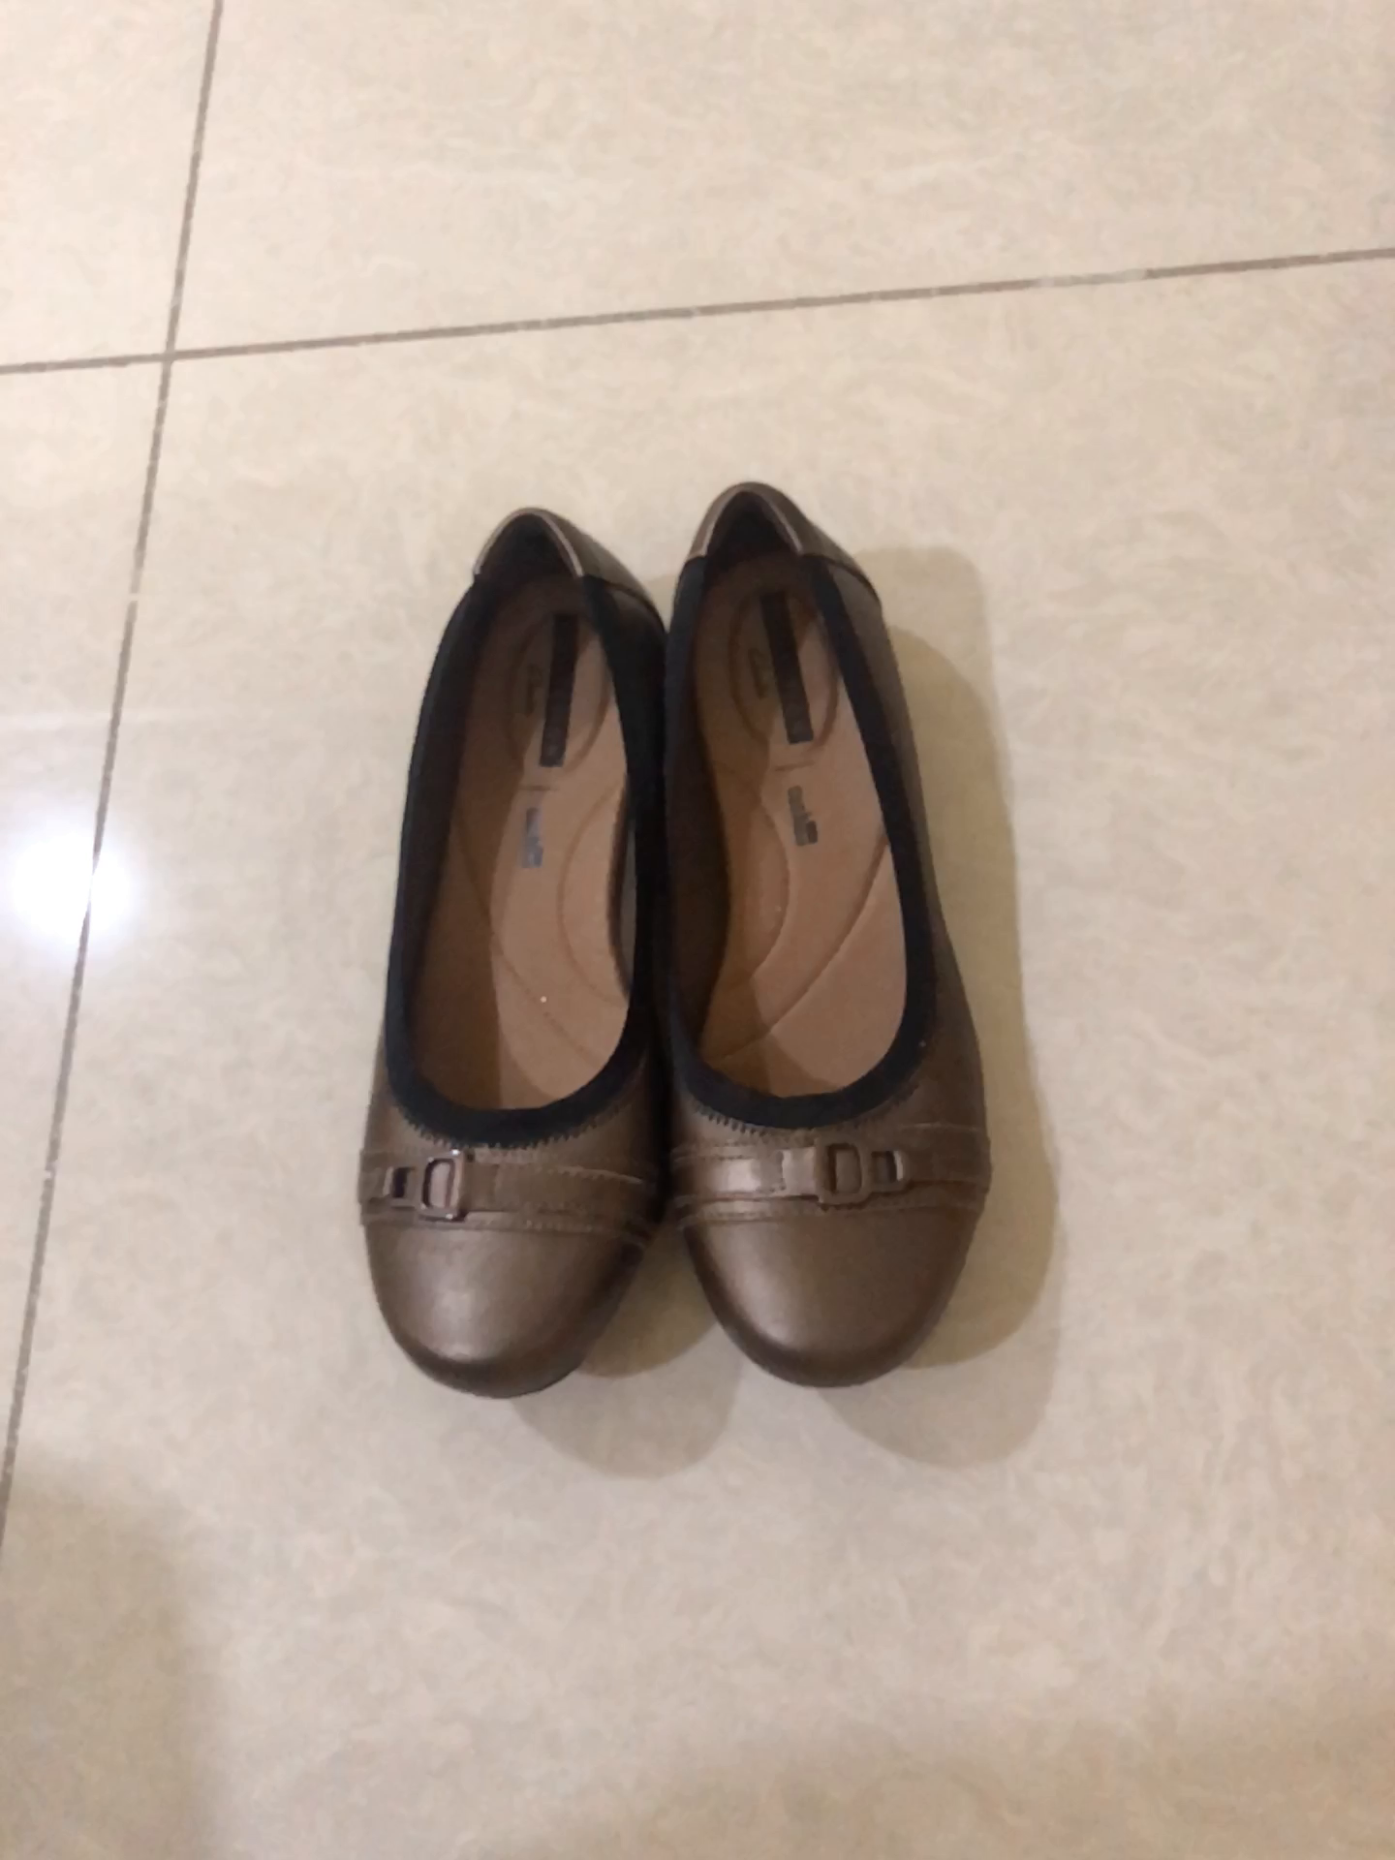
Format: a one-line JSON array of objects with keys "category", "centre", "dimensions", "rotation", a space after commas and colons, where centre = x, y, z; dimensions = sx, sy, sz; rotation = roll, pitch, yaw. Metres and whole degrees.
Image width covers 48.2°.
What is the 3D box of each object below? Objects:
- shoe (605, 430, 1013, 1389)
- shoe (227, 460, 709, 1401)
[{"category": "shoe", "centre": [0.028, -0.007, 0.448], "dimensions": [0.090, 0.070, 0.260], "rotation": [-5, 71, 6]}, {"category": "shoe", "centre": [-0.058, -0.007, 0.458], "dimensions": [0.100, 0.050, 0.270], "rotation": [1, 72, 8]}]
